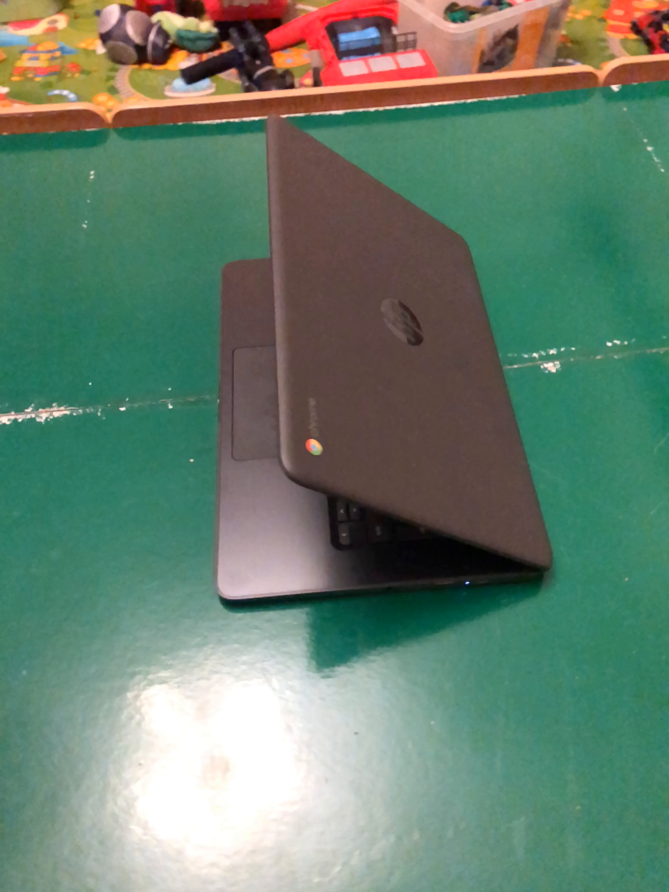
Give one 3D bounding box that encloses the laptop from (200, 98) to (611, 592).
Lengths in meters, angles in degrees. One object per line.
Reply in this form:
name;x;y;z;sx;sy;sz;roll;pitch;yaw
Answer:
laptop;0.026;-0.083;0.519;0.208;0.144;0.318;-5;55;-1
